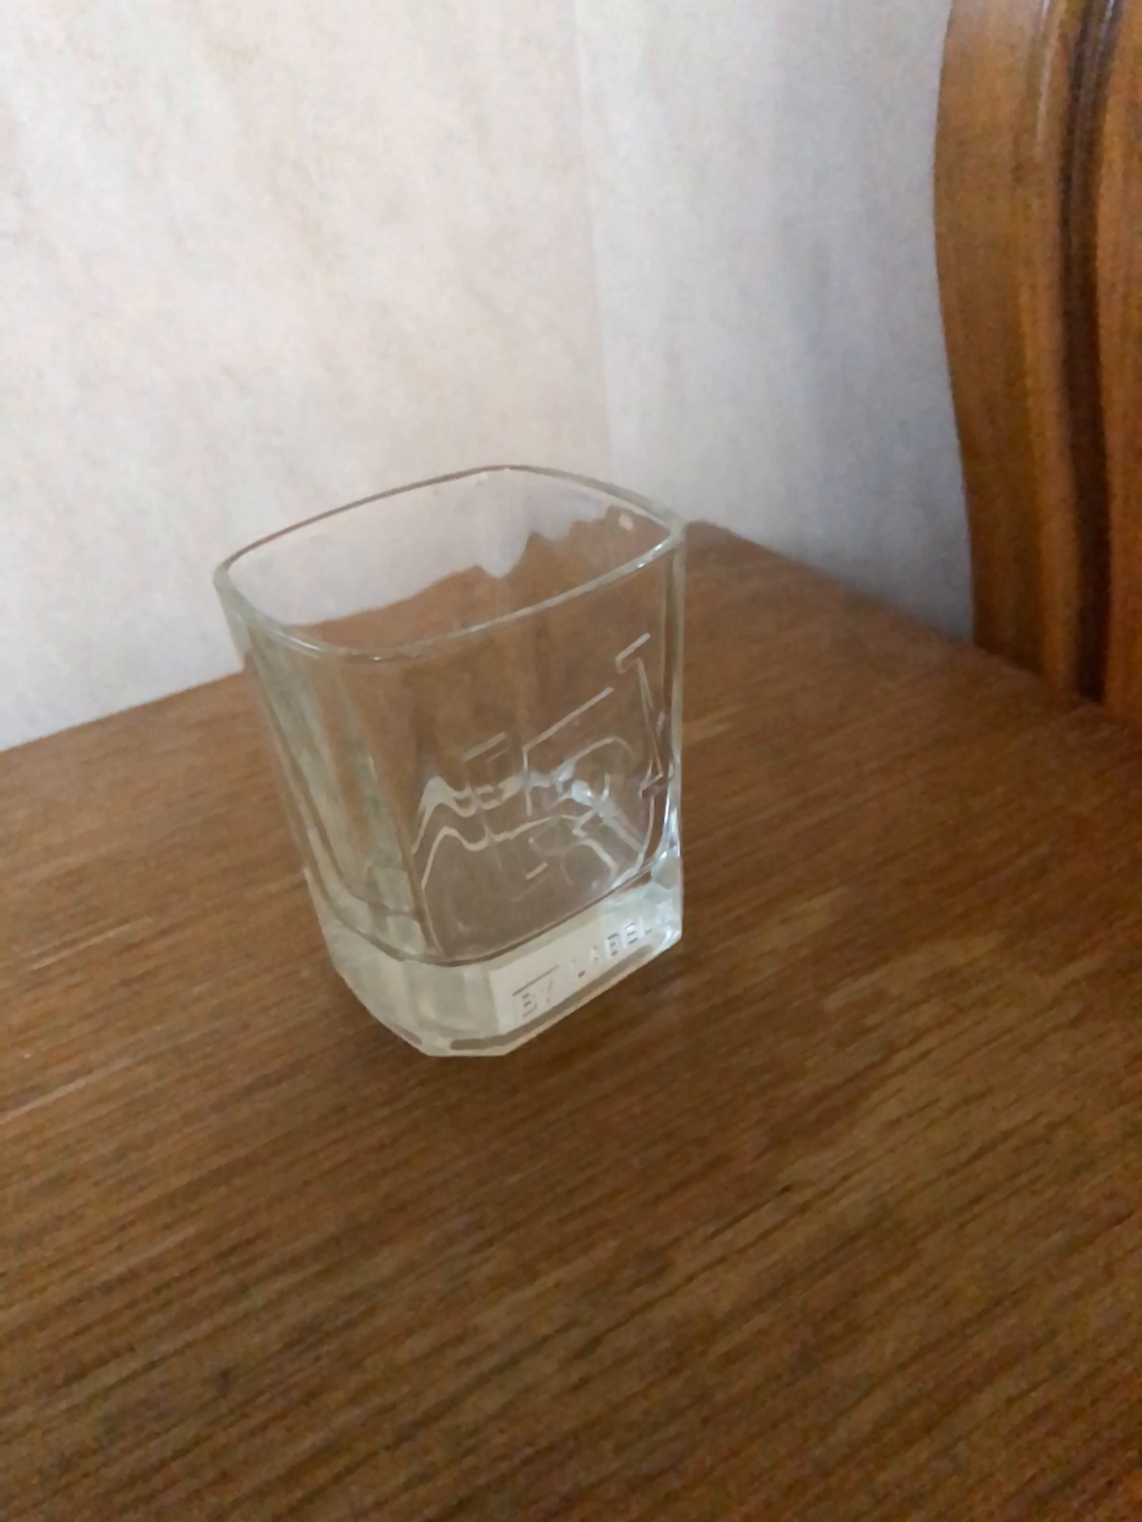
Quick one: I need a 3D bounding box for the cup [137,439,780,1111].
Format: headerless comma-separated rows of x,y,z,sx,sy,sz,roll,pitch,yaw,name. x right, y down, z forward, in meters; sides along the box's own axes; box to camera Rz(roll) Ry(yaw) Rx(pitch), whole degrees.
-0.016,-0.004,0.211,0.070,0.070,0.070,-5,30,3,cup
